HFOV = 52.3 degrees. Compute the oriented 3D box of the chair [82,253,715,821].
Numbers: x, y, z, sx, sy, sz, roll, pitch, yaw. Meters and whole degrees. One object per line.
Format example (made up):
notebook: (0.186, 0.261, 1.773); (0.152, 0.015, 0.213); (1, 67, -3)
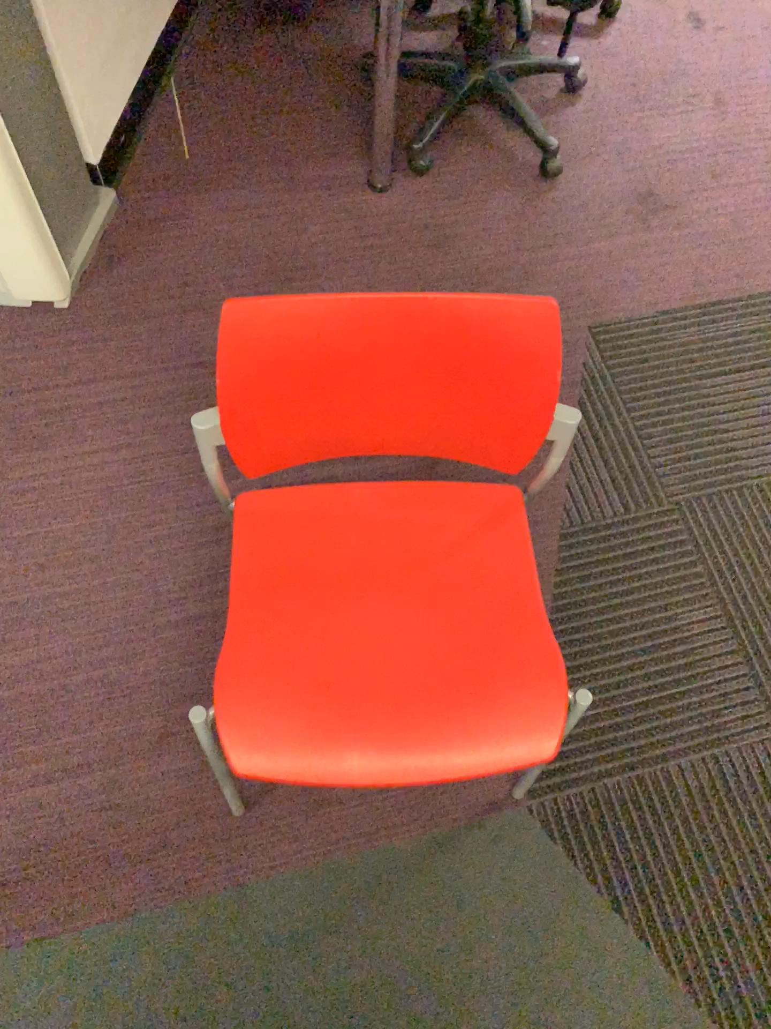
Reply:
chair: (0.011, 0.098, 1.104); (0.540, 0.686, 0.563); (0, 64, 0)
